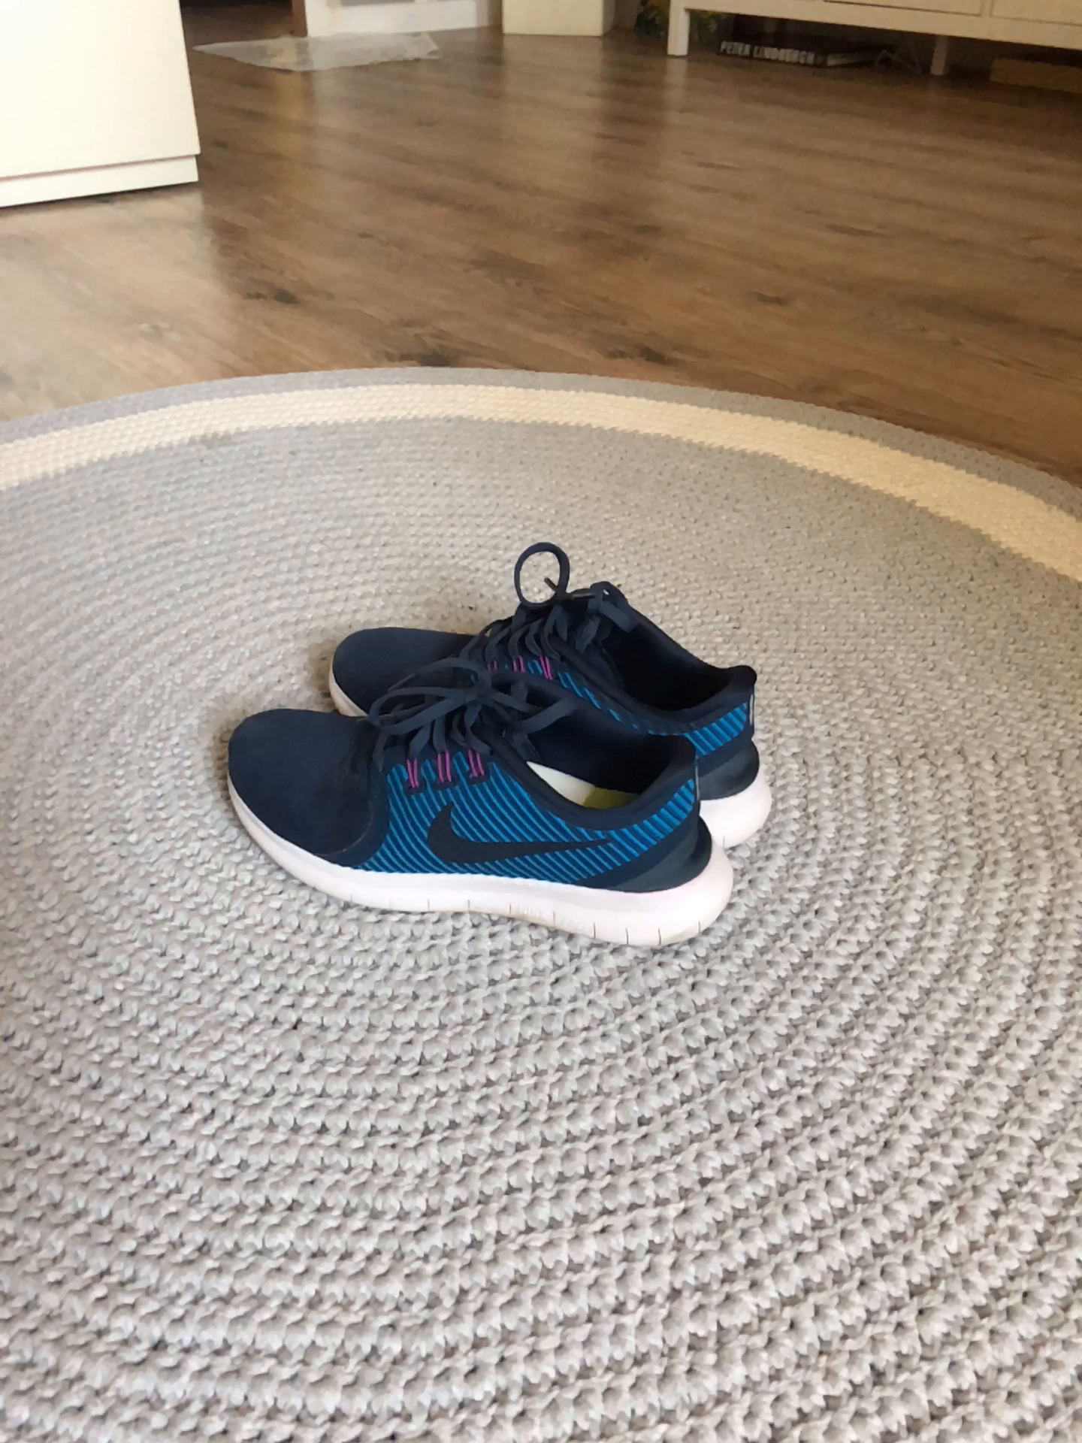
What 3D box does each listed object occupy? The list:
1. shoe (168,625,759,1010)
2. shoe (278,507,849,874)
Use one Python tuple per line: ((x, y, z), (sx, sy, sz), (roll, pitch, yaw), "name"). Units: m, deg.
((-0.034, 0.037, 0.558), (0.244, 0.080, 0.100), (13, 37, 17), "shoe")
((0.006, -0.027, 0.620), (0.270, 0.080, 0.100), (19, 38, 24), "shoe")
